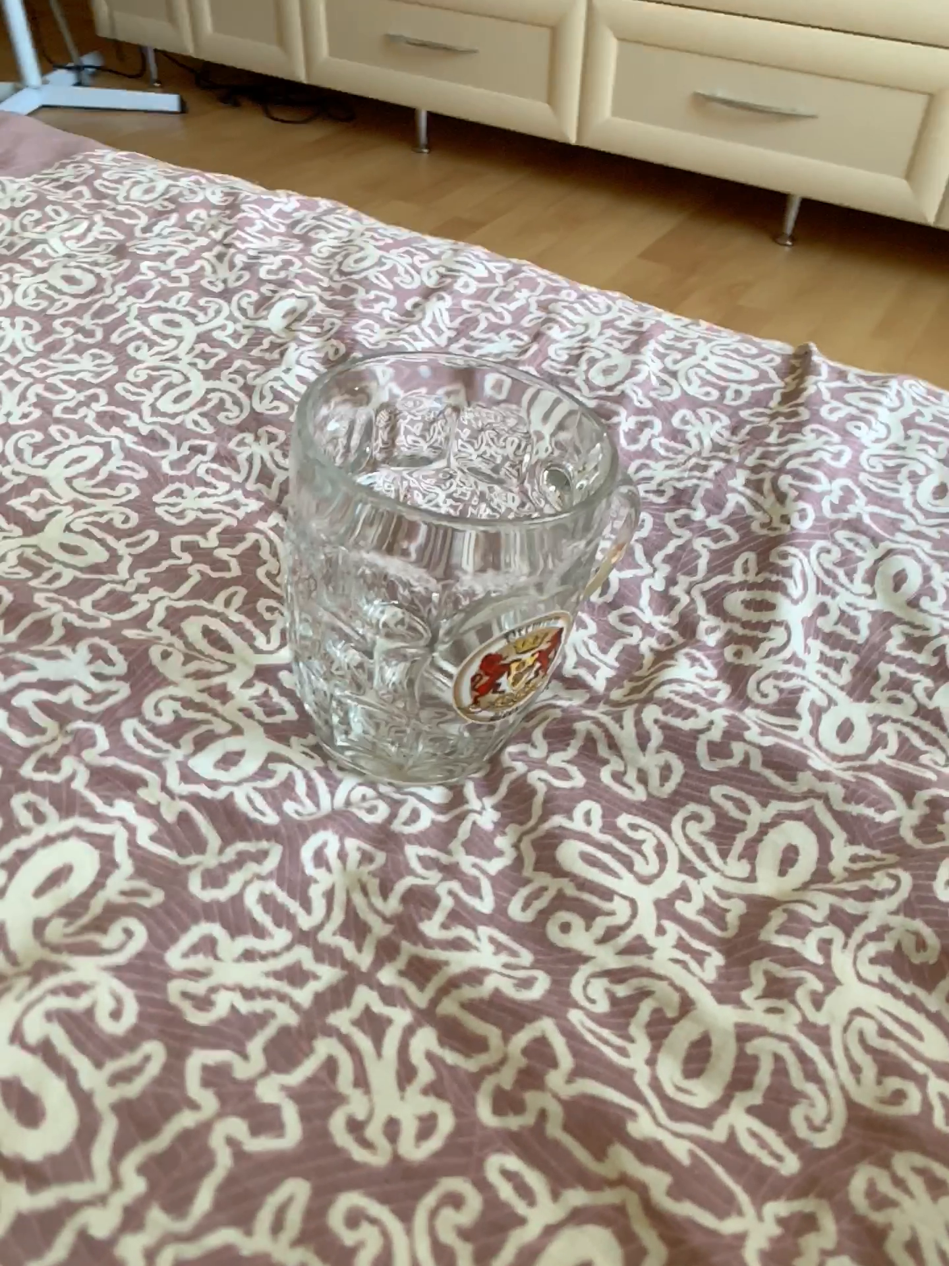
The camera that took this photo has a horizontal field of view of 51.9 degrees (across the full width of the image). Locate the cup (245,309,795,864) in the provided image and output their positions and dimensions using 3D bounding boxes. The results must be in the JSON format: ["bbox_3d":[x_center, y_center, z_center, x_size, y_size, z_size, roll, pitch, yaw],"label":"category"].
[{"bbox_3d":[0.007,-0.021,0.293,0.117,0.099,0.093,-25,53,-34],"label":"cup"}]
